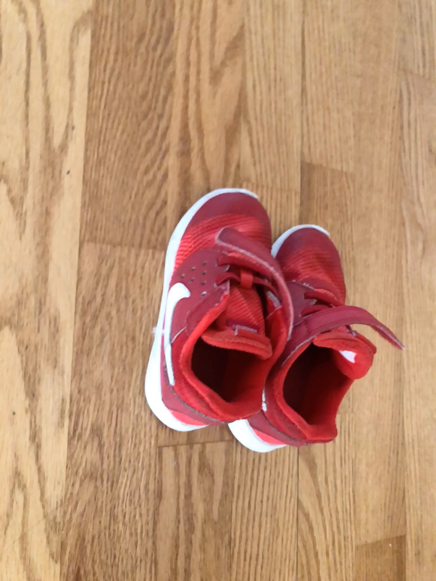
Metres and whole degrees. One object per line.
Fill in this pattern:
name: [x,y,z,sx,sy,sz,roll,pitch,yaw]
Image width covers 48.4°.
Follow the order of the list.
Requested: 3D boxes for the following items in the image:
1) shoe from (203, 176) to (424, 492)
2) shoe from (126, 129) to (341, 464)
shoe: [0.068,0.029,0.332,0.089,0.069,0.177,23,74,-25]
shoe: [0.011,0.006,0.304,0.081,0.069,0.175,17,77,-26]
